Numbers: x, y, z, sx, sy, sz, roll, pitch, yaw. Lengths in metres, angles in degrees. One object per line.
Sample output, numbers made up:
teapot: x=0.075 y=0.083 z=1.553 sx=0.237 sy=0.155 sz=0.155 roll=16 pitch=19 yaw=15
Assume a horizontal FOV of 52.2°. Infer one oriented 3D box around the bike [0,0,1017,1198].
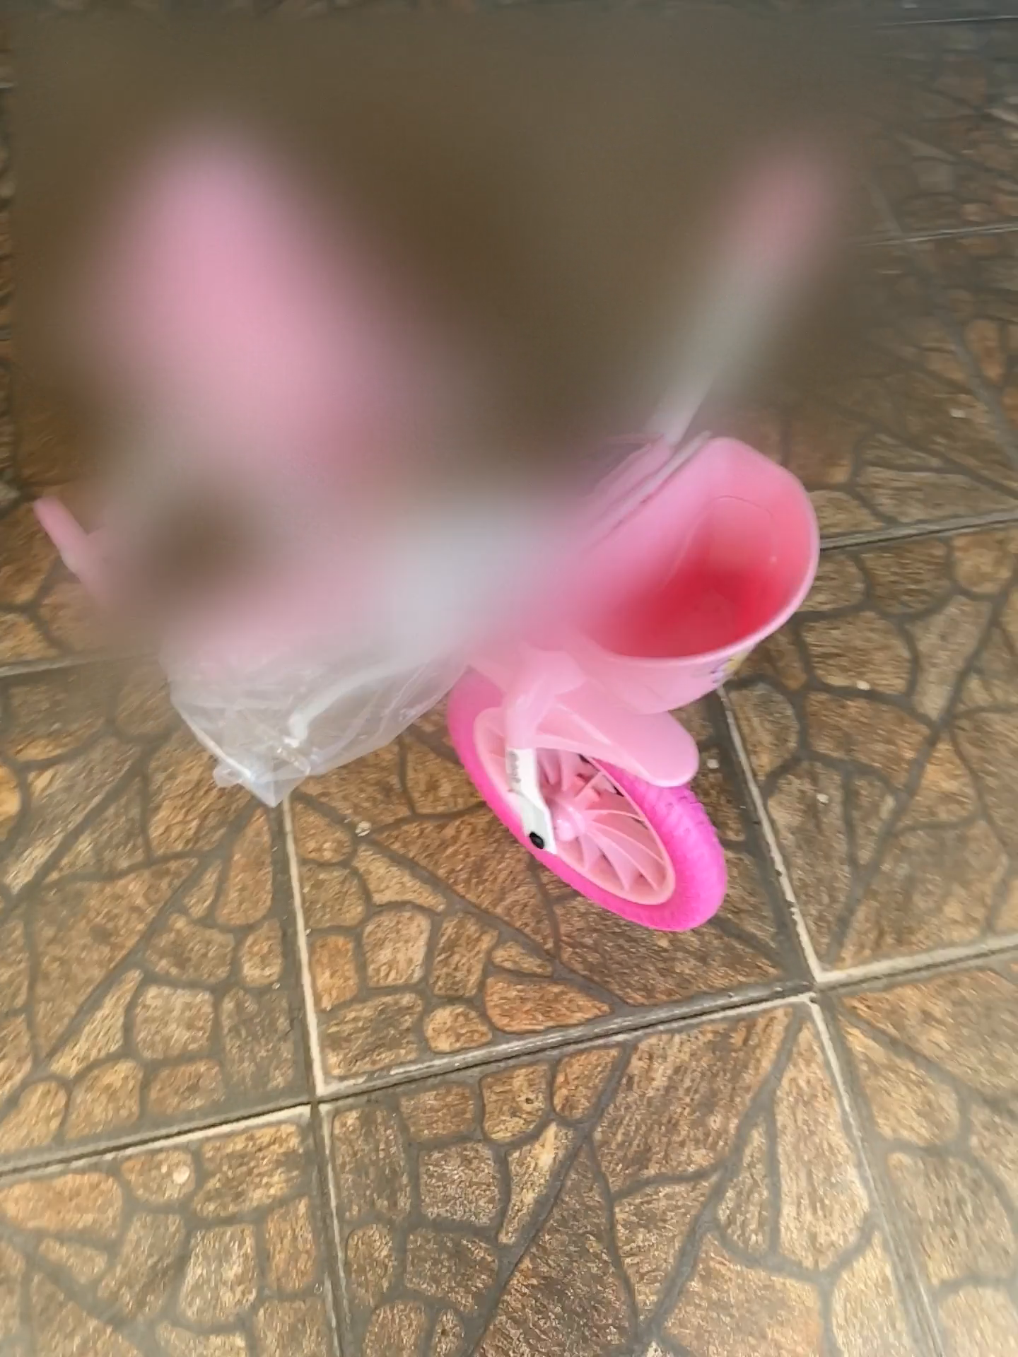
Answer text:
bike: x=-0.109 y=-0.132 z=0.833 sx=0.512 sy=0.563 sz=0.793 roll=-36 pitch=70 yaw=-20
